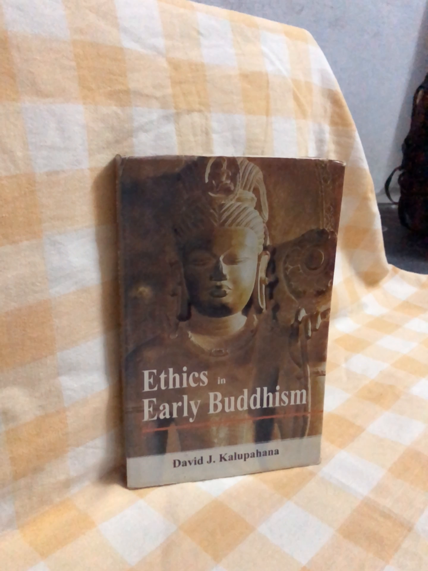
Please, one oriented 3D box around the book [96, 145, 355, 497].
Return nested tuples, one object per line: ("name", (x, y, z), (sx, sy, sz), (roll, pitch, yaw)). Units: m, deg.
("book", (0.006, 0.027, 0.322), (0.160, 0.229, 0.020), (-2, 15, -14))
